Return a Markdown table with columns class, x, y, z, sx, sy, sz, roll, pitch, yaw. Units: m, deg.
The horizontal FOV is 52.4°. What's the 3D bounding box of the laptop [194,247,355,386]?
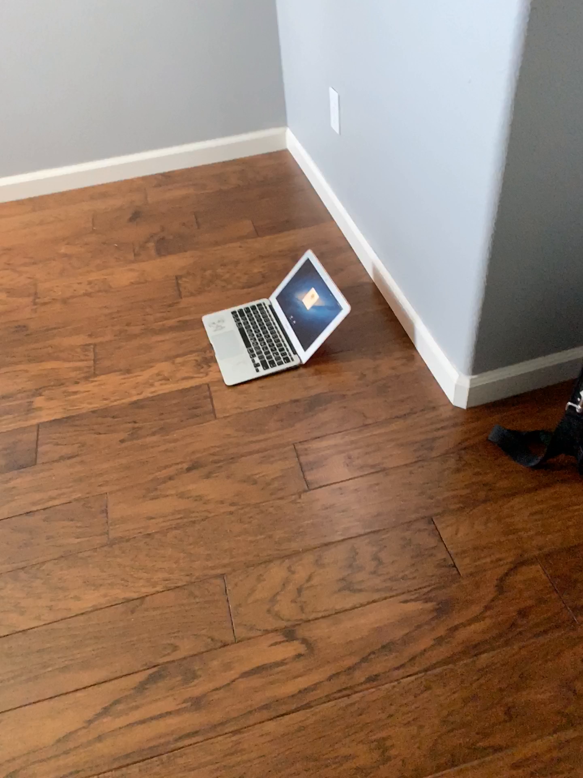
| class | x | y | z | sx | sy | sz | roll | pitch | yaw |
| --- | --- | --- | --- | --- | --- | --- | --- | --- | --- |
| laptop | -0.049 | -0.189 | 1.466 | 0.322 | 0.117 | 0.294 | -17 | 43 | -7 |
